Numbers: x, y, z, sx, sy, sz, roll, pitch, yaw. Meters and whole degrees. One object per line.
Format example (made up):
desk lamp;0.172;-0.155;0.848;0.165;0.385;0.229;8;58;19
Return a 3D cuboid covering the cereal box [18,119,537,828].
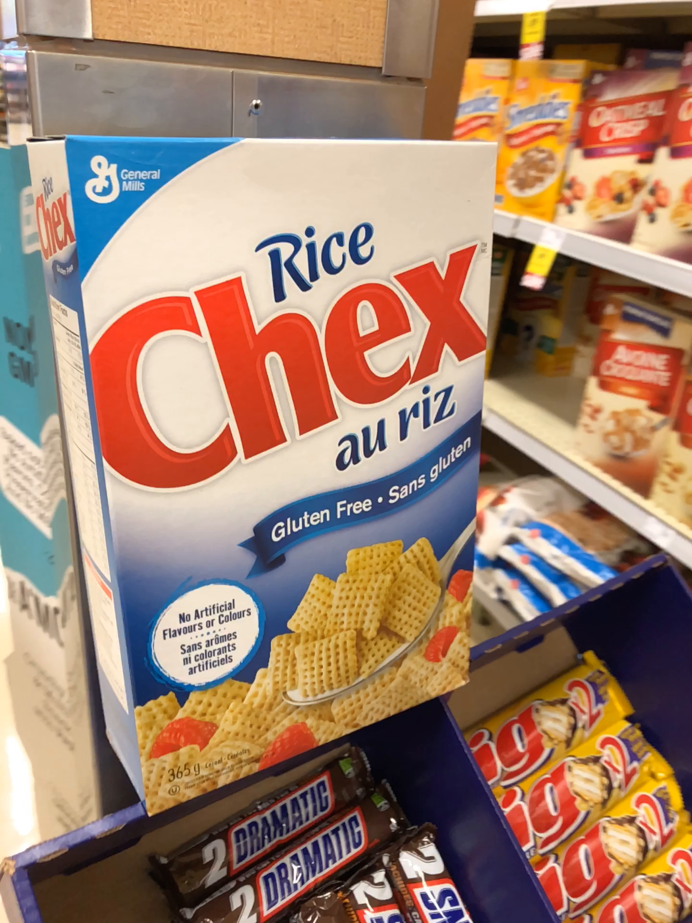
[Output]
cereal box;-0.022;-0.002;0.371;0.210;0.289;0.070;-11;23;-30
